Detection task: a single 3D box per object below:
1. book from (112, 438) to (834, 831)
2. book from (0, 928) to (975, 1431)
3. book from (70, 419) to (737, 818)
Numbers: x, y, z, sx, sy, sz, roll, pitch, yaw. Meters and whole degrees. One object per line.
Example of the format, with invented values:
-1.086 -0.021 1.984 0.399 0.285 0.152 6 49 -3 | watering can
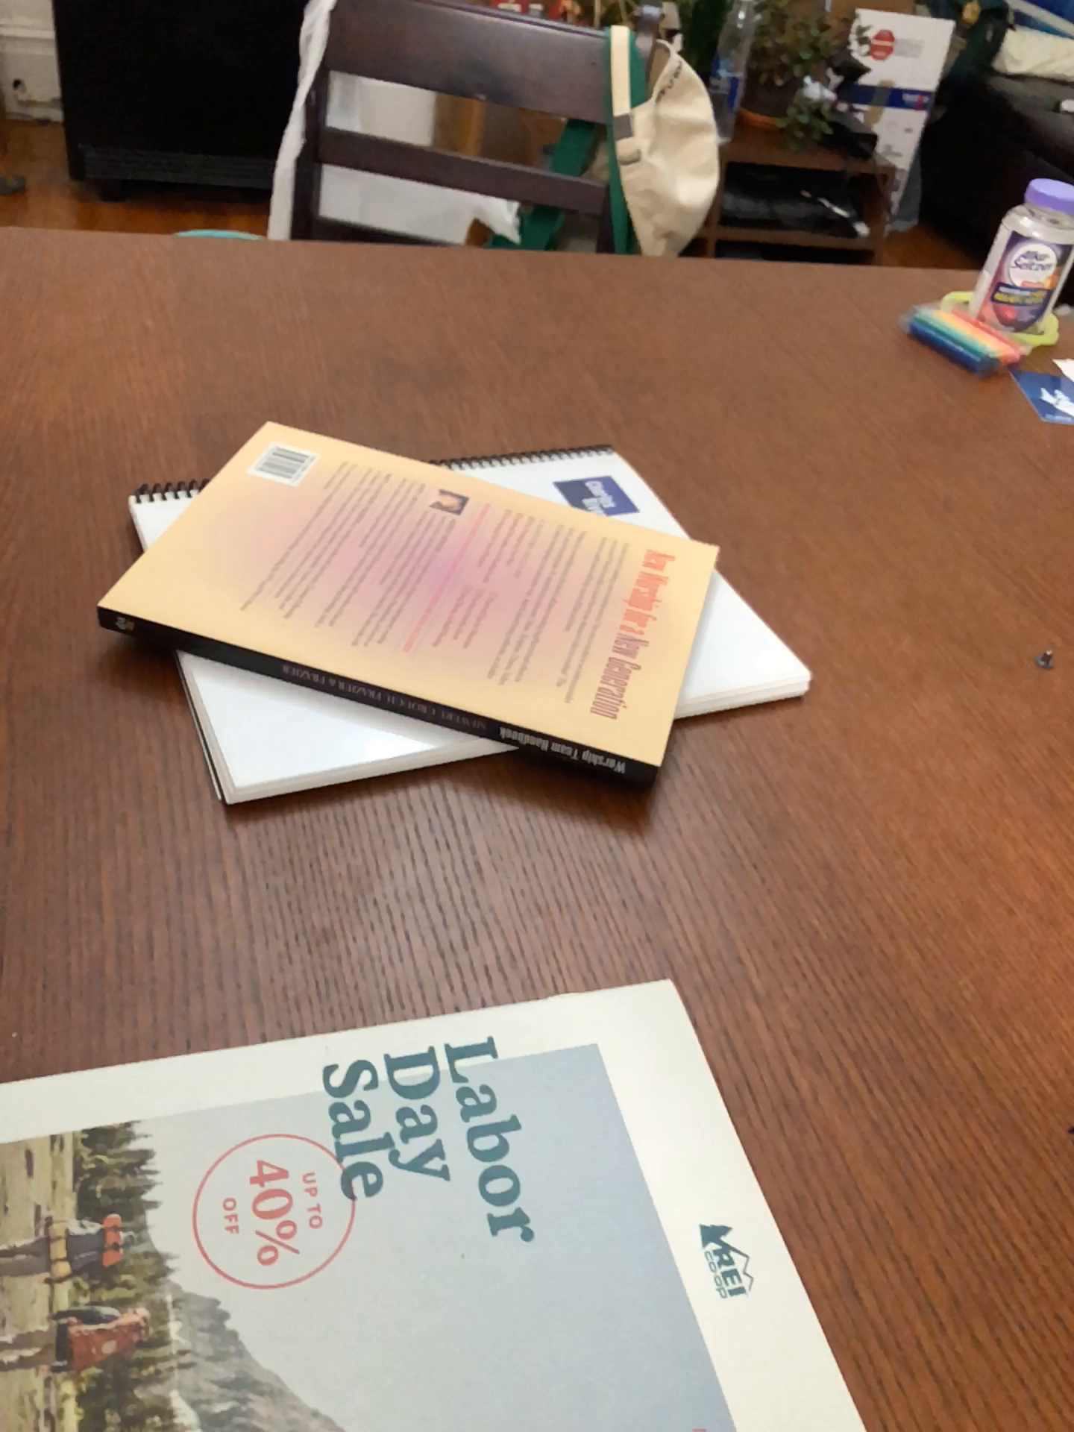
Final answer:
-0.038 -0.061 0.589 0.291 0.020 0.231 -11 45 -24 | book
-0.051 0.157 0.320 0.270 0.010 0.201 -5 43 -18 | book
-0.047 -0.059 0.558 0.260 0.020 0.191 16 40 6 | book
